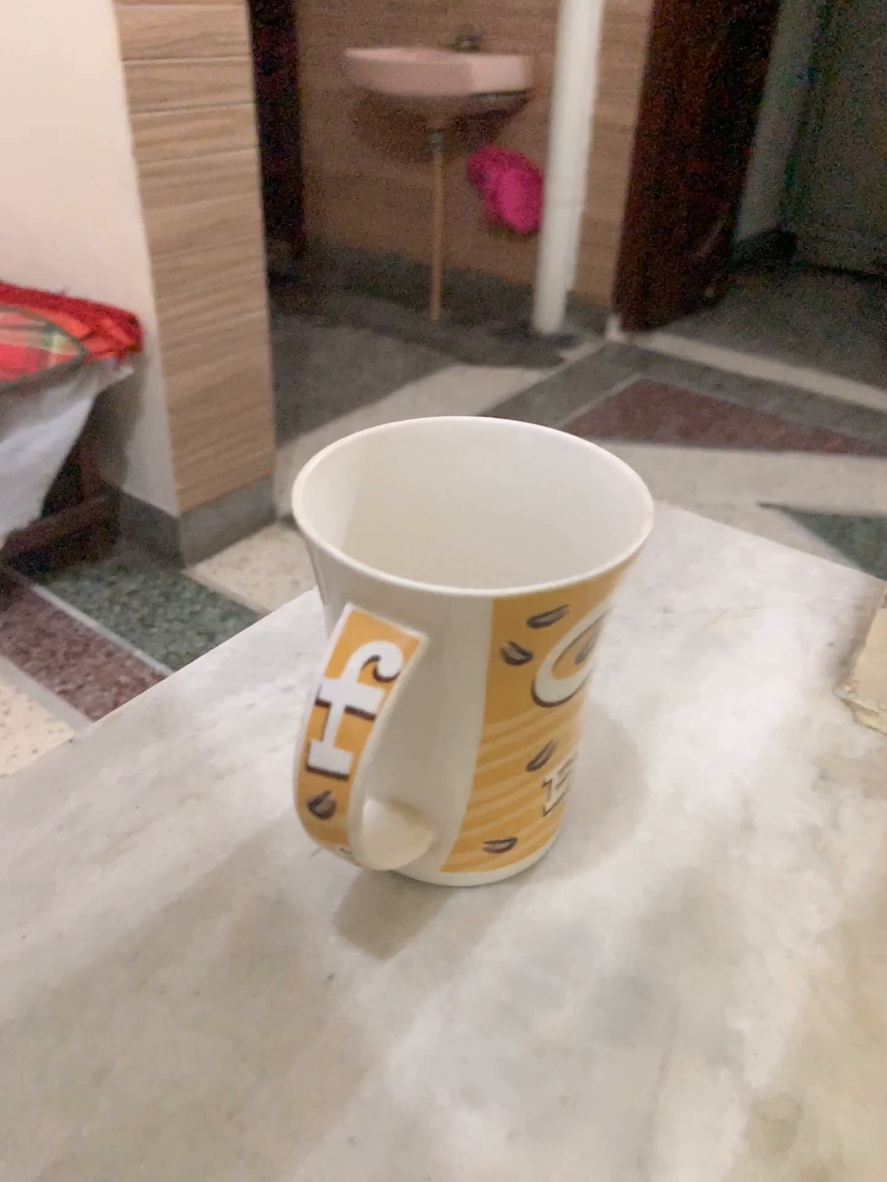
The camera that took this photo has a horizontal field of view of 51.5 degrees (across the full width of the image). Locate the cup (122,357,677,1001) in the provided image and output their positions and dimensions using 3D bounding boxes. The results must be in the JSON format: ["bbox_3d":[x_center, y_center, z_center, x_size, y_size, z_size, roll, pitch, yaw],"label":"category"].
[{"bbox_3d":[-0.005,0.014,0.228,0.080,0.100,0.100,20,38,22],"label":"cup"}]
